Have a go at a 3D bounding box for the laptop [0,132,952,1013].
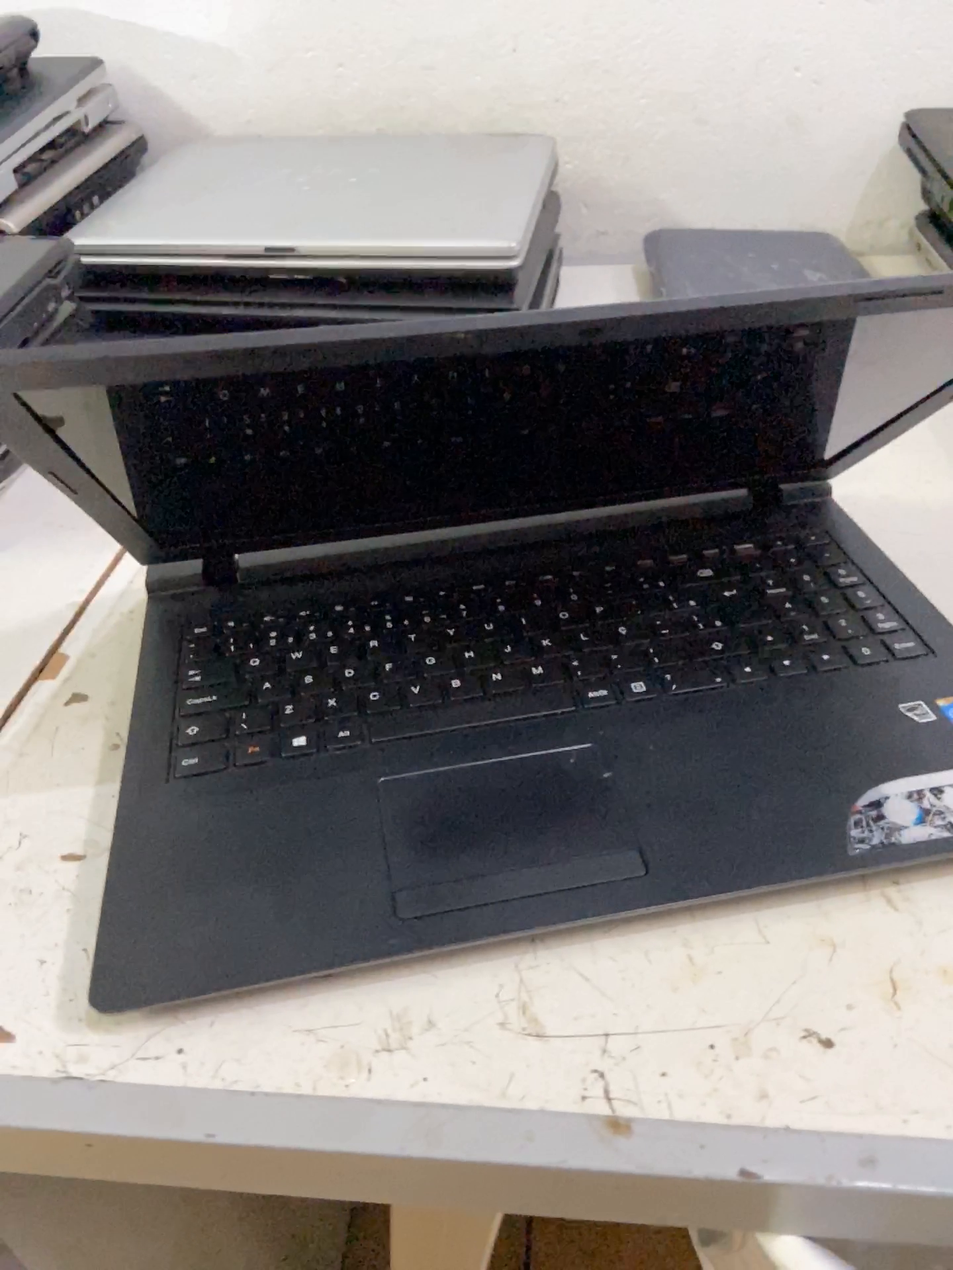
[{"bbox_3d":[0.032,-0.055,0.389,0.376,0.189,0.259,-8,38,-7],"label":"laptop"}]
